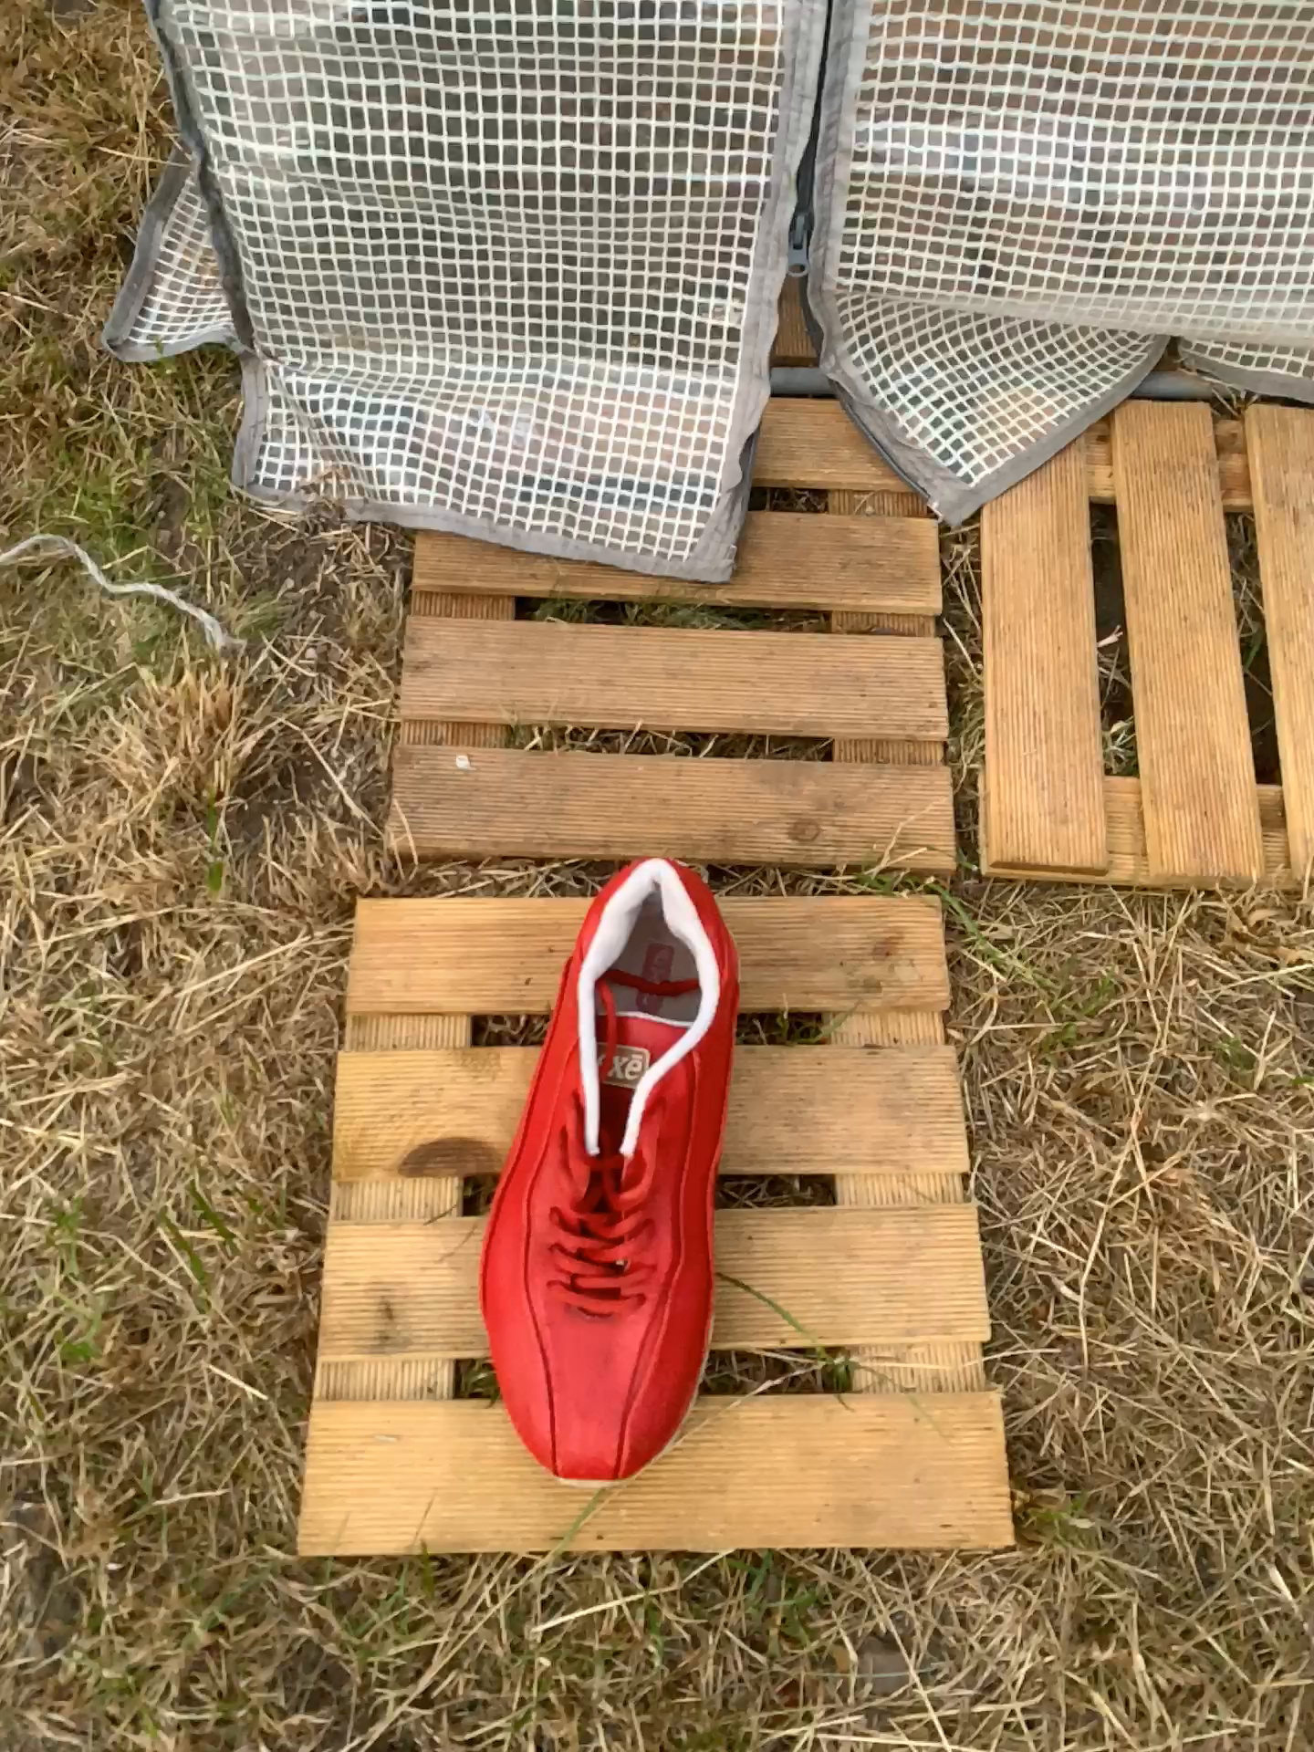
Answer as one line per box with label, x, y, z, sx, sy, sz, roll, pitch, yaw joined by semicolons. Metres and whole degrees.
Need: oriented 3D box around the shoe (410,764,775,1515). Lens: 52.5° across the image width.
shoe;-0.017;0.109;0.574;0.100;0.129;0.282;7;61;3
